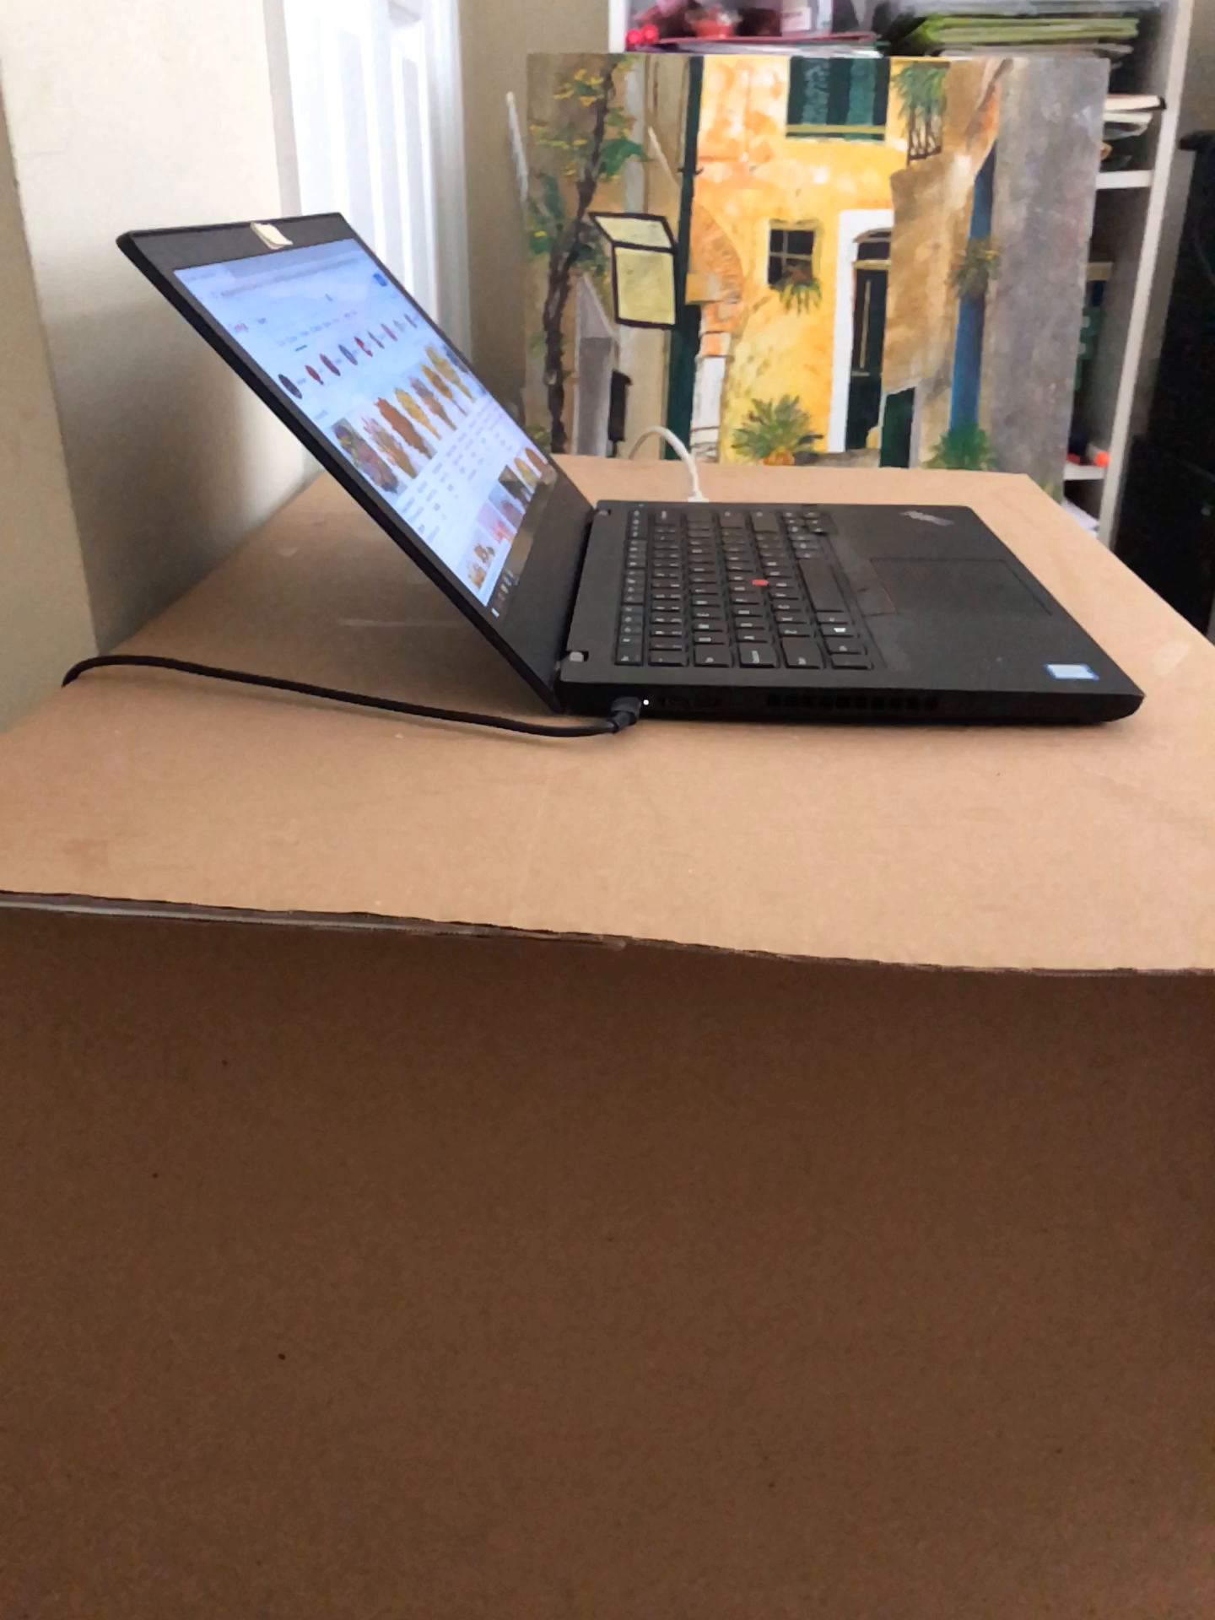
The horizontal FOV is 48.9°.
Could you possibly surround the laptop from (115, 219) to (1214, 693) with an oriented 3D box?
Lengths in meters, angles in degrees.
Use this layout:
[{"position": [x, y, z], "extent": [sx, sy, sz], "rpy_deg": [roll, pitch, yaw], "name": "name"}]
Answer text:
[{"position": [0.024, -0.186, 0.622], "extent": [0.364, 0.158, 0.324], "rpy_deg": [1, 24, 2], "name": "laptop"}]
